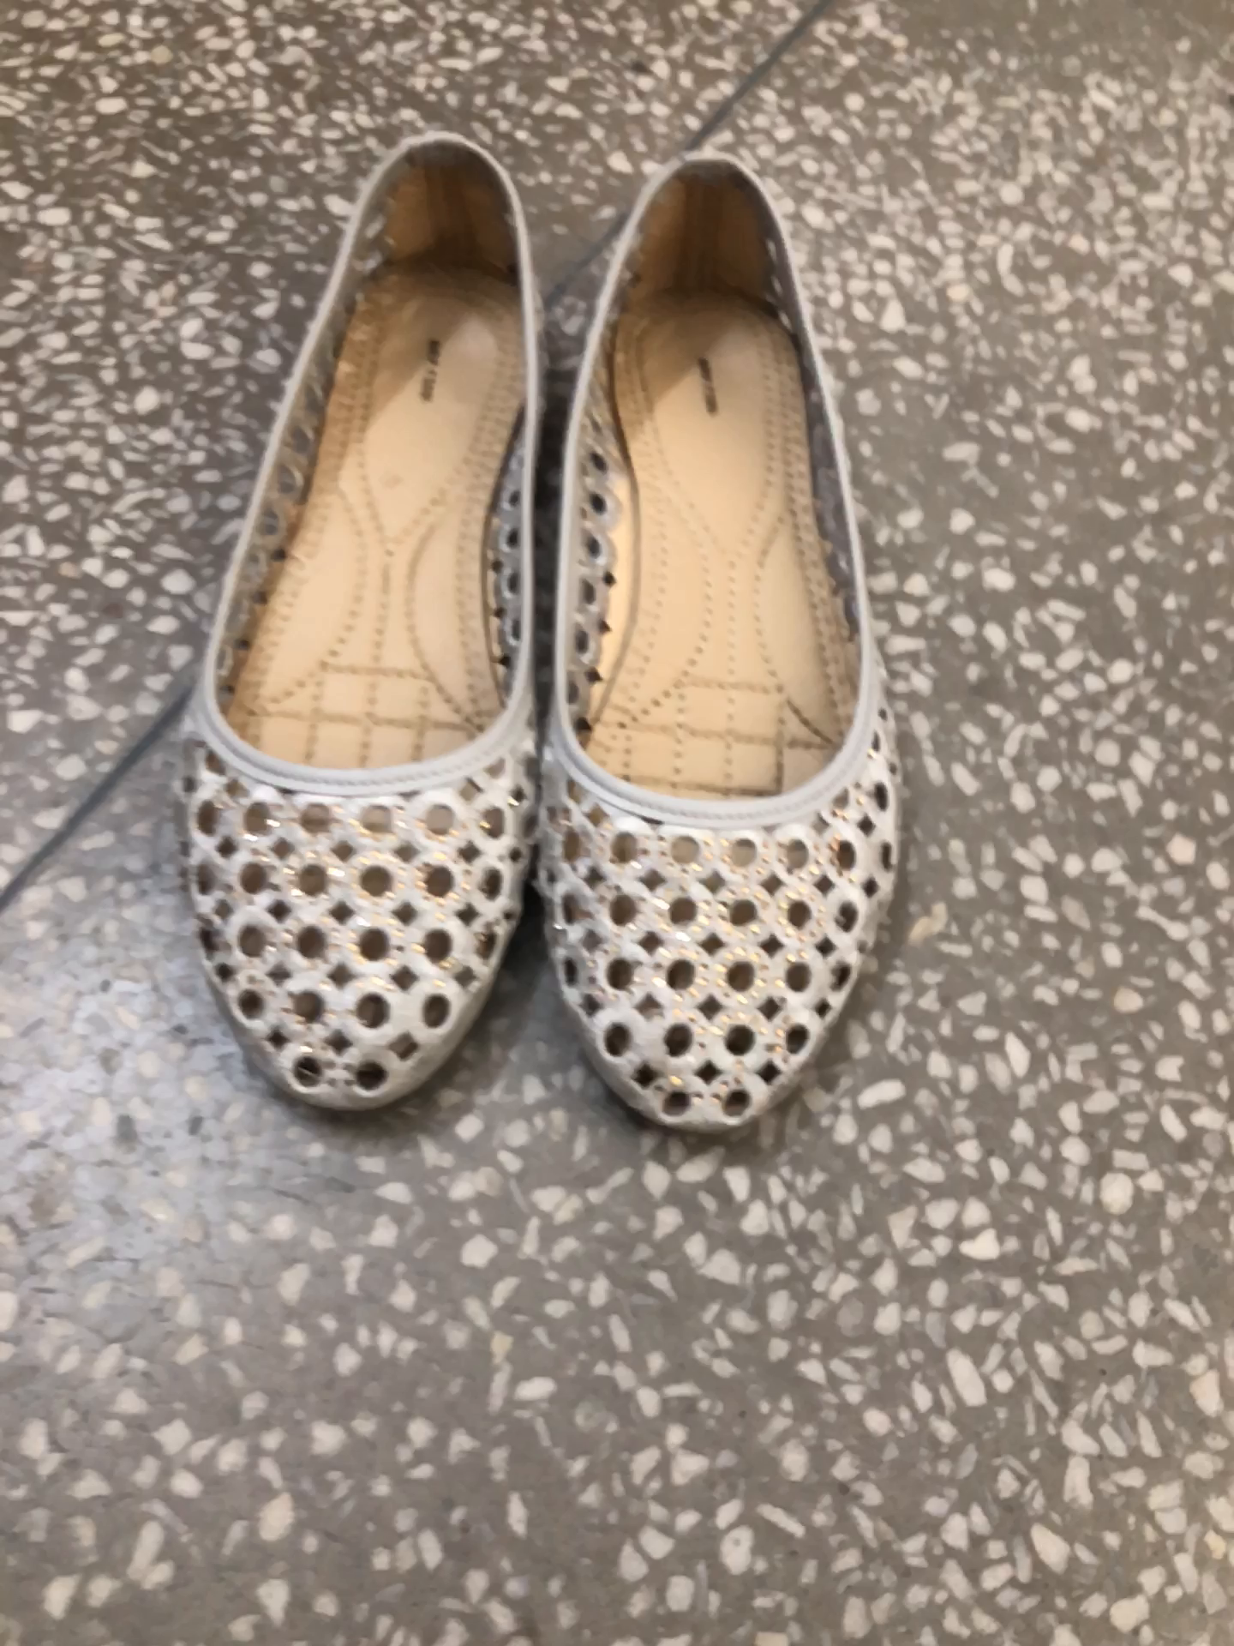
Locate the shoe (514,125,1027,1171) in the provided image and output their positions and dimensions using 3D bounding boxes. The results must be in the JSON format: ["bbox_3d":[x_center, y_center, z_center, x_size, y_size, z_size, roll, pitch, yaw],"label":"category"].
[{"bbox_3d":[0.030,-0.047,0.329,0.093,0.070,0.240,3,66,-2],"label":"shoe"}]

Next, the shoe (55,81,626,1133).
[{"bbox_3d":[-0.050,-0.057,0.325,0.093,0.070,0.240,3,66,-2],"label":"shoe"}]
